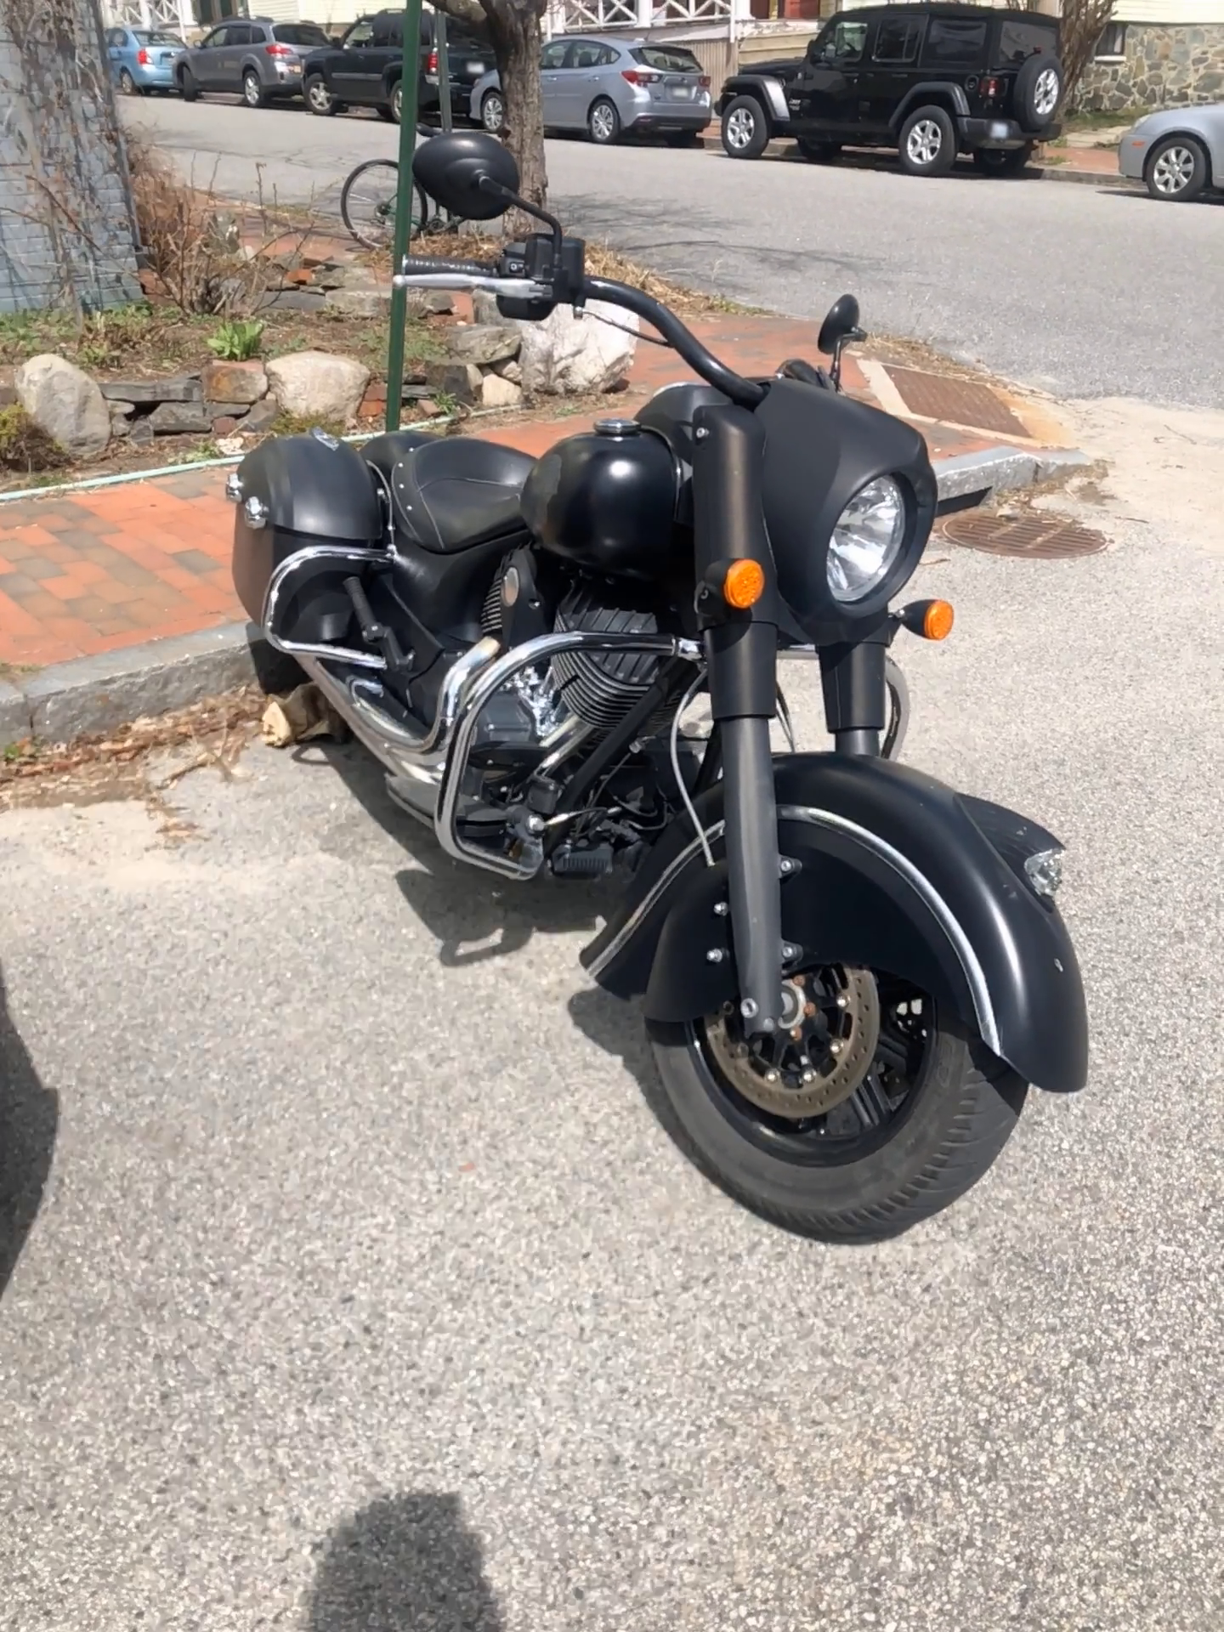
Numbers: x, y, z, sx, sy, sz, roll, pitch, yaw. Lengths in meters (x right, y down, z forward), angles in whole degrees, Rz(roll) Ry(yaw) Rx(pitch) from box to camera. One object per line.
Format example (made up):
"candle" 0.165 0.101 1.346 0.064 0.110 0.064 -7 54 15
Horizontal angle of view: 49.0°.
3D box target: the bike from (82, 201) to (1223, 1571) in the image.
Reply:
"bike" -0.089 -0.227 2.327 0.858 1.301 2.097 -18 34 -28
